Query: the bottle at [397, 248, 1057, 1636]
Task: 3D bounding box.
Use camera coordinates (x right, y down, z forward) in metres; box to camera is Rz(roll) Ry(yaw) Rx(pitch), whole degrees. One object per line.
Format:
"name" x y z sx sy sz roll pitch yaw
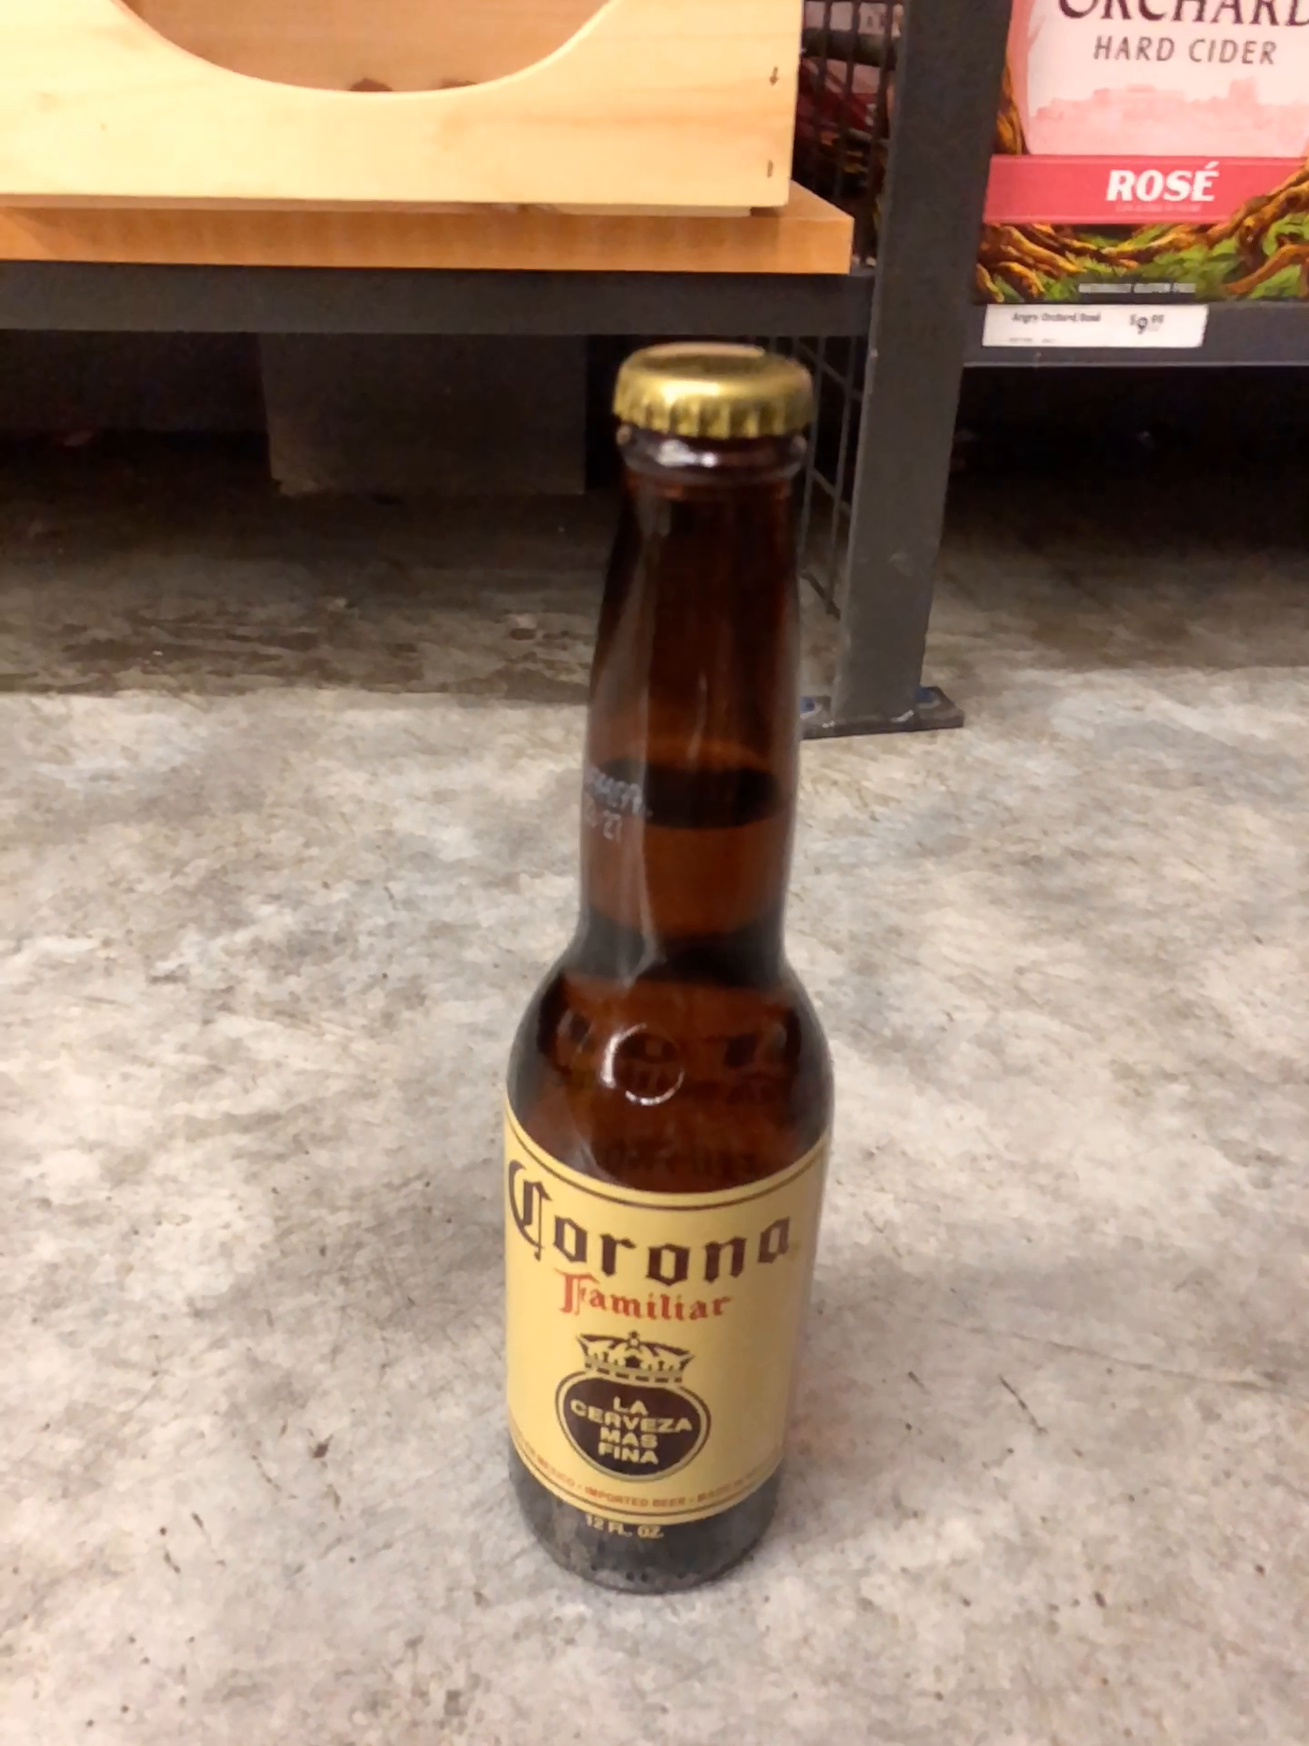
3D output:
"bottle" 0.009 0.021 0.237 0.070 0.216 0.070 2 31 -1
